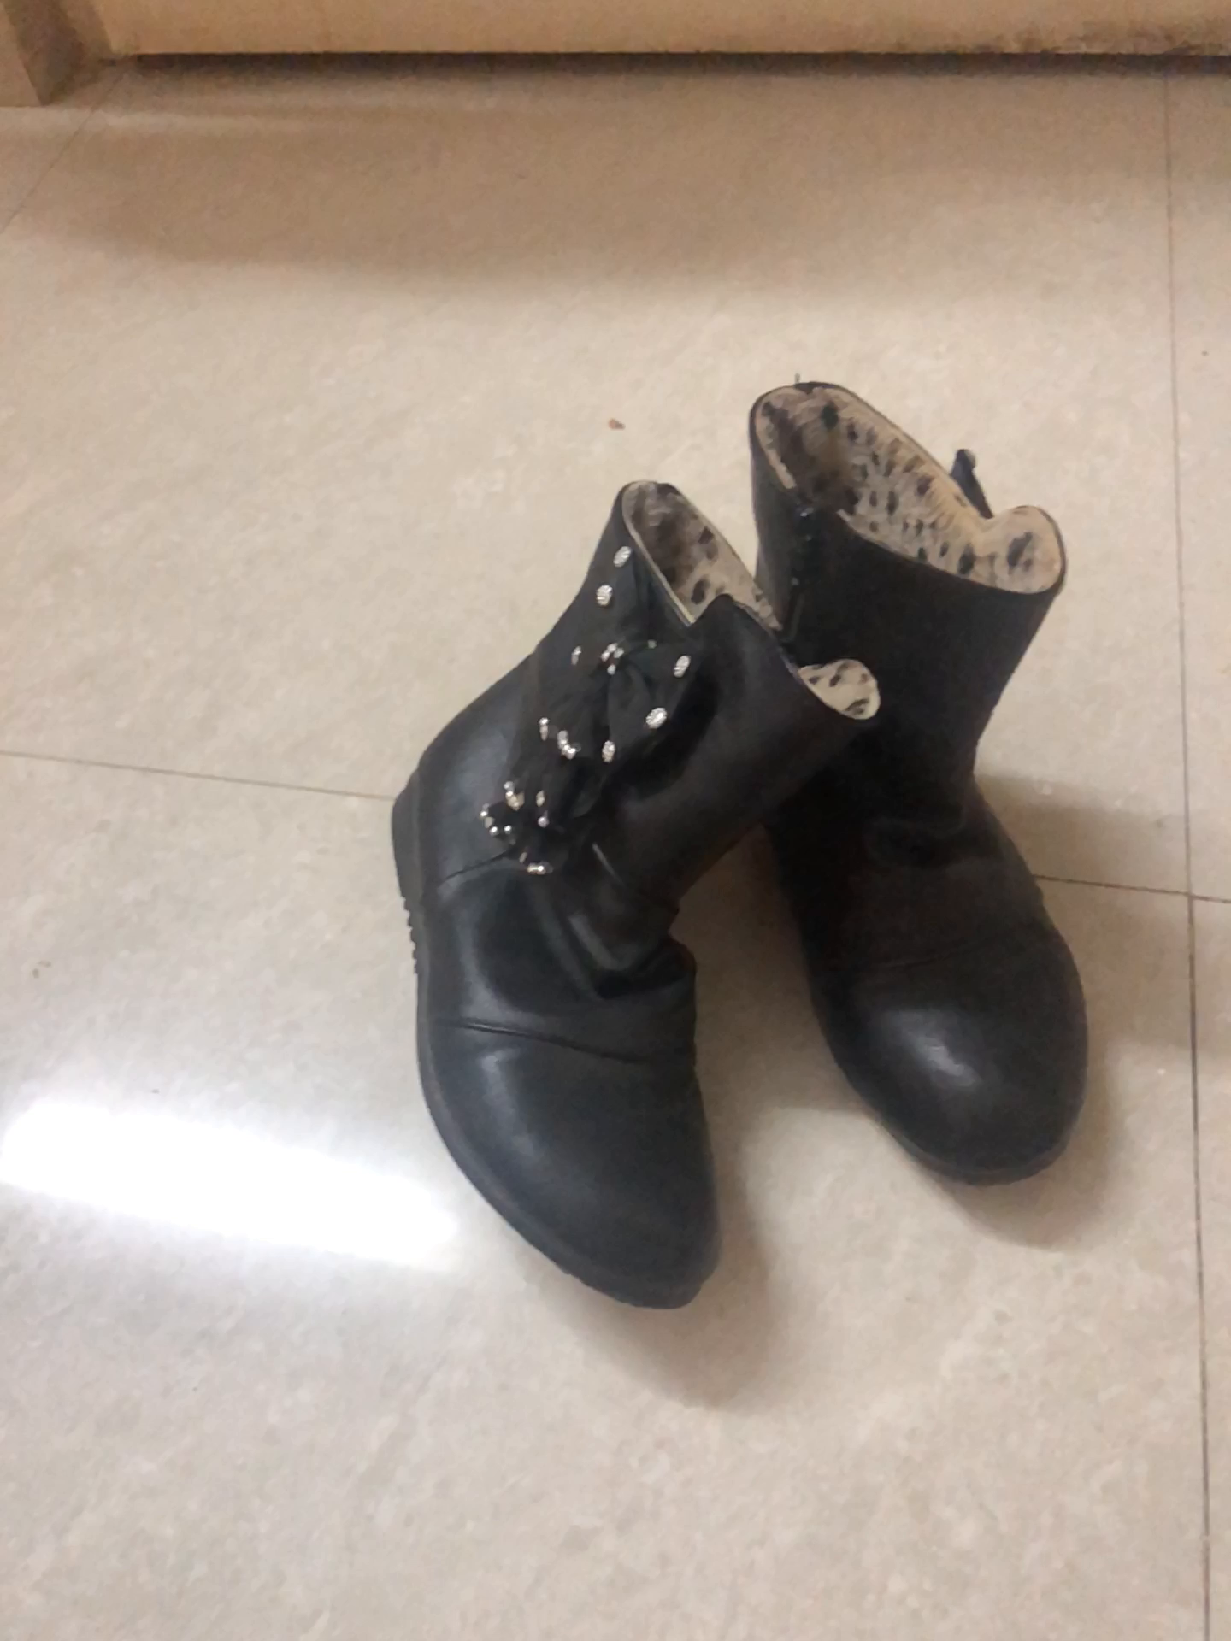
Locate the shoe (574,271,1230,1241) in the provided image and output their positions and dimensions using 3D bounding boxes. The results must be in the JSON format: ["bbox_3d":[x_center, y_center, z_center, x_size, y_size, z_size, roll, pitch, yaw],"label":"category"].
[{"bbox_3d":[0.071,-0.022,0.386,0.090,0.139,0.221,-18,55,-5],"label":"shoe"}]

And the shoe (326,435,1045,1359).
[{"bbox_3d":[-0.001,0.020,0.385,0.090,0.139,0.201,7,48,-32],"label":"shoe"}]
